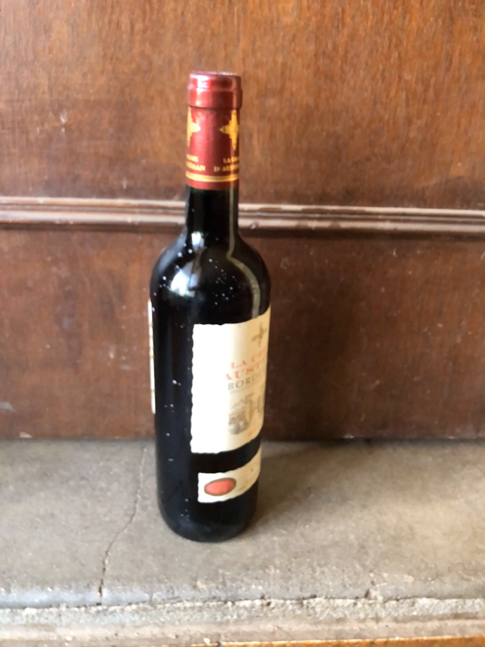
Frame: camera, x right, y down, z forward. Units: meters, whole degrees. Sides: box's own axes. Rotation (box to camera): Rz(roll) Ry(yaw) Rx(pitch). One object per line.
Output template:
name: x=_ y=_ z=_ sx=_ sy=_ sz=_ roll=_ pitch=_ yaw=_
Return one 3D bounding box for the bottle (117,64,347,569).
bottle: x=-0.011 y=0.001 z=0.326 sx=0.080 sy=0.278 sz=0.080 roll=2 pitch=25 yaw=-1
